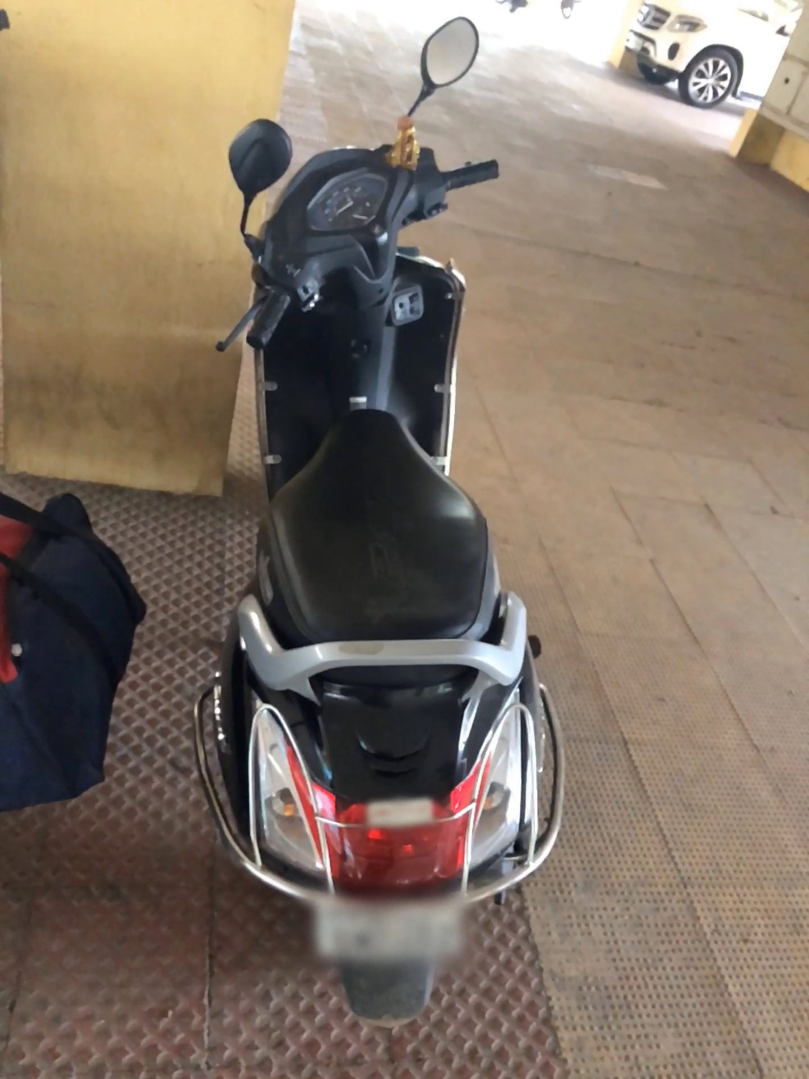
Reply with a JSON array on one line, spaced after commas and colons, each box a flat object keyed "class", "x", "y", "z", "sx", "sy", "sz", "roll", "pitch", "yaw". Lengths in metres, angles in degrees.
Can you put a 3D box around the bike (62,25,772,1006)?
[{"class": "bike", "x": -0.227, "y": -0.212, "z": 1.648, "sx": 0.621, "sy": 0.882, "sz": 1.667, "roll": 4, "pitch": 38, "yaw": -18}]
